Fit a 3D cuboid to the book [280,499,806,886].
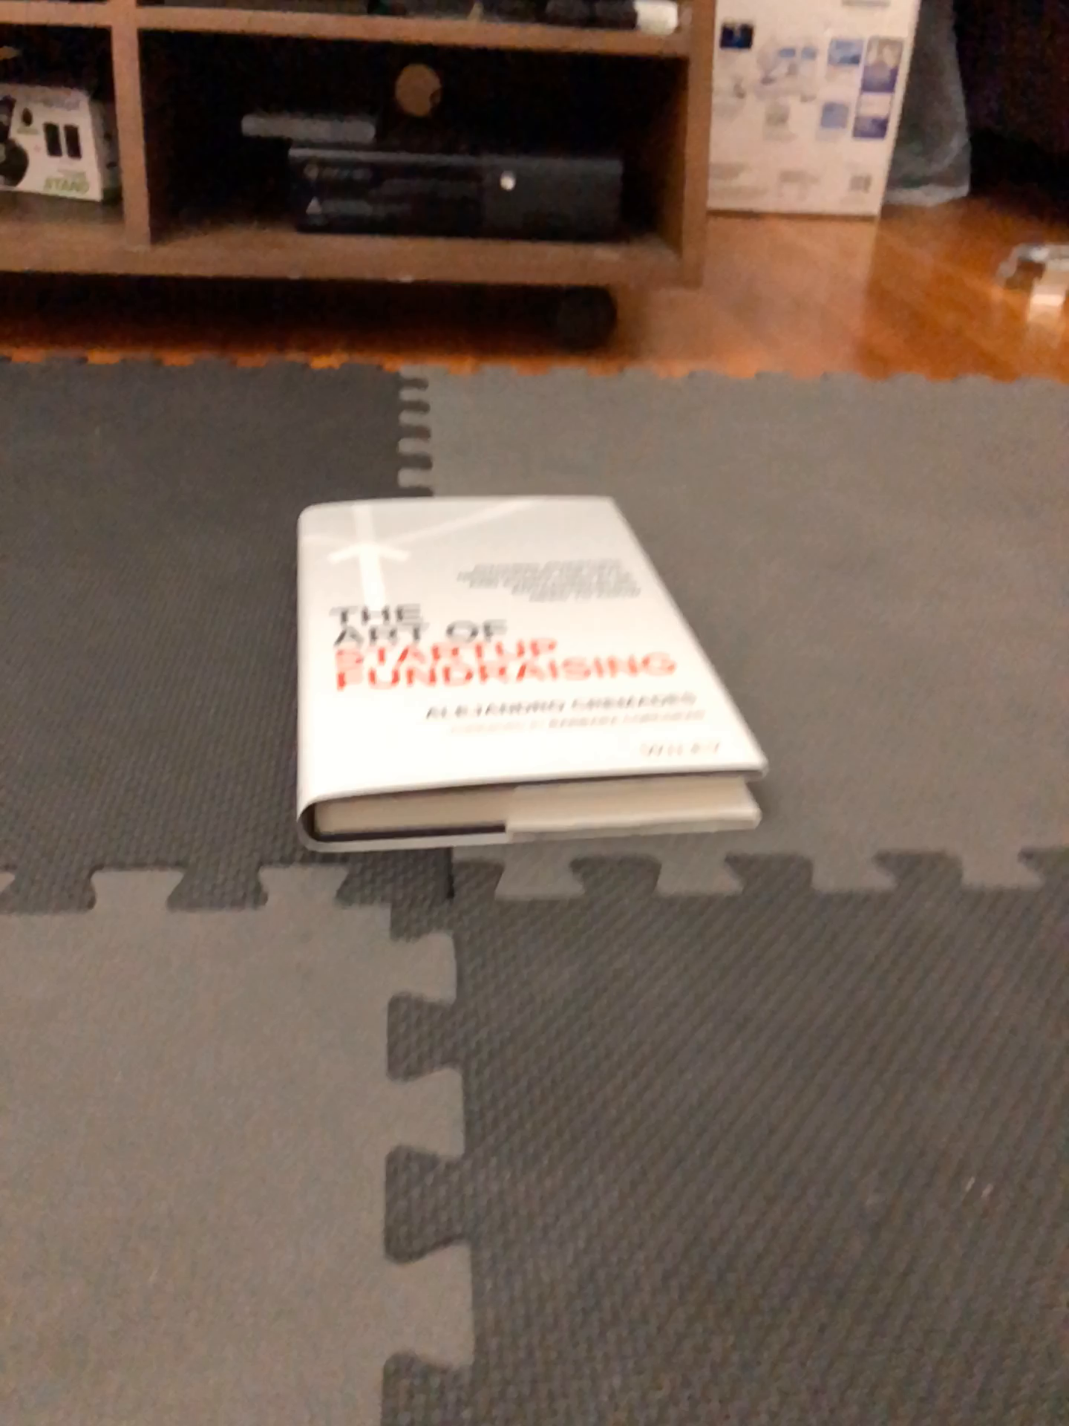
[{"bbox_3d":[-0.014,-0.027,0.491,0.170,0.030,0.251,-2,32,-8],"label":"book"}]
